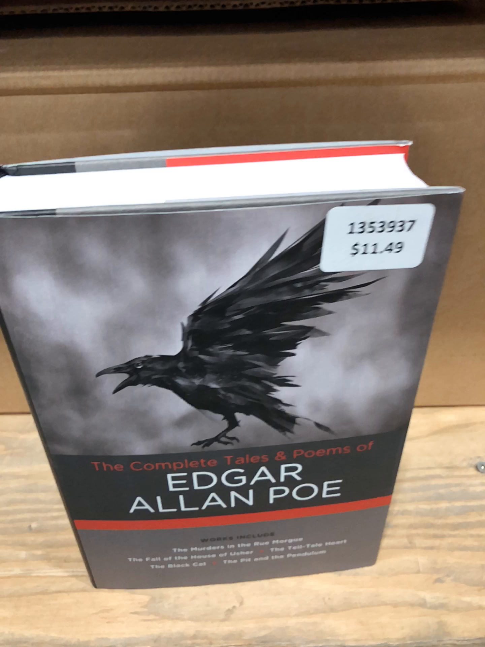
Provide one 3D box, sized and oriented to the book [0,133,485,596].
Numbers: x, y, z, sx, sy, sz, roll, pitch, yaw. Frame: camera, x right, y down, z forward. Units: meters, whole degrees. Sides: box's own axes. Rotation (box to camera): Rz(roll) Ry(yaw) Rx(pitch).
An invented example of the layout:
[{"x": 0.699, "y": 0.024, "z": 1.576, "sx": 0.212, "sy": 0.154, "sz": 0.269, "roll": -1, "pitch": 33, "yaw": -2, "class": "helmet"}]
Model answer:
[{"x": -0.006, "y": 0.040, "z": 0.268, "sx": 0.171, "sy": 0.240, "sz": 0.054, "roll": -4, "pitch": 37, "yaw": -3, "class": "book"}]
